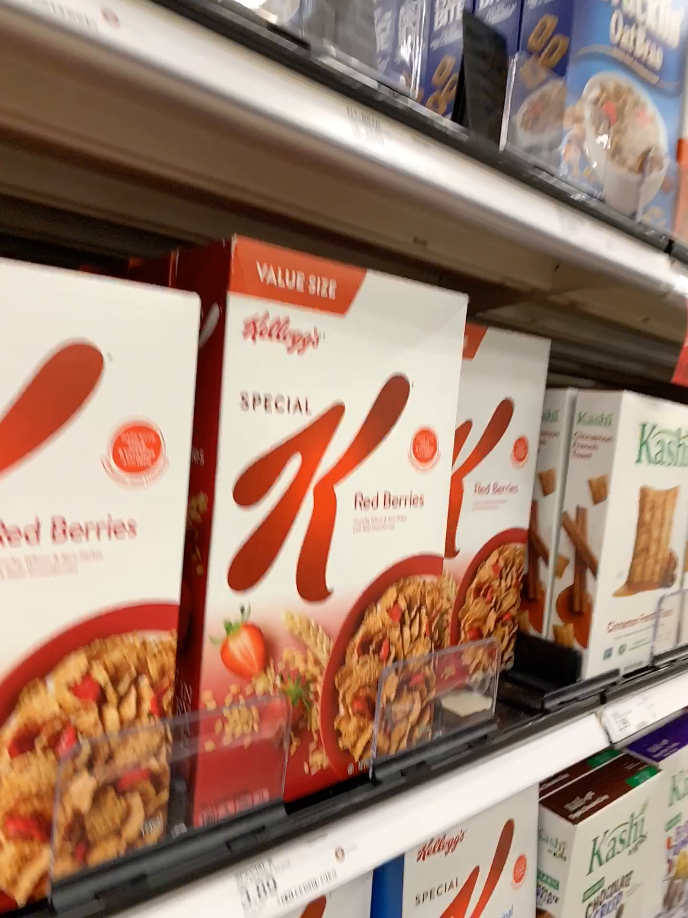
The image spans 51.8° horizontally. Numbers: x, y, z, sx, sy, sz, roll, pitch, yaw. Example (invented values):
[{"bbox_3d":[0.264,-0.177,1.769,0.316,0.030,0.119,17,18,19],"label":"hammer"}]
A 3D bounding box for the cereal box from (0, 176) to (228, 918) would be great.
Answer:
[{"bbox_3d":[-0.167,0.053,0.323,0.200,0.290,0.060,2,6,-44],"label":"cereal box"}]

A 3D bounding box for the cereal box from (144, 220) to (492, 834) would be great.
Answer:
[{"bbox_3d":[-0.008,0.038,0.454,0.200,0.320,0.060,2,6,-43],"label":"cereal box"}]

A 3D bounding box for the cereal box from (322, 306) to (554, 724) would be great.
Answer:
[{"bbox_3d":[0.091,0.045,0.643,0.200,0.330,0.060,2,6,-44],"label":"cereal box"}]
